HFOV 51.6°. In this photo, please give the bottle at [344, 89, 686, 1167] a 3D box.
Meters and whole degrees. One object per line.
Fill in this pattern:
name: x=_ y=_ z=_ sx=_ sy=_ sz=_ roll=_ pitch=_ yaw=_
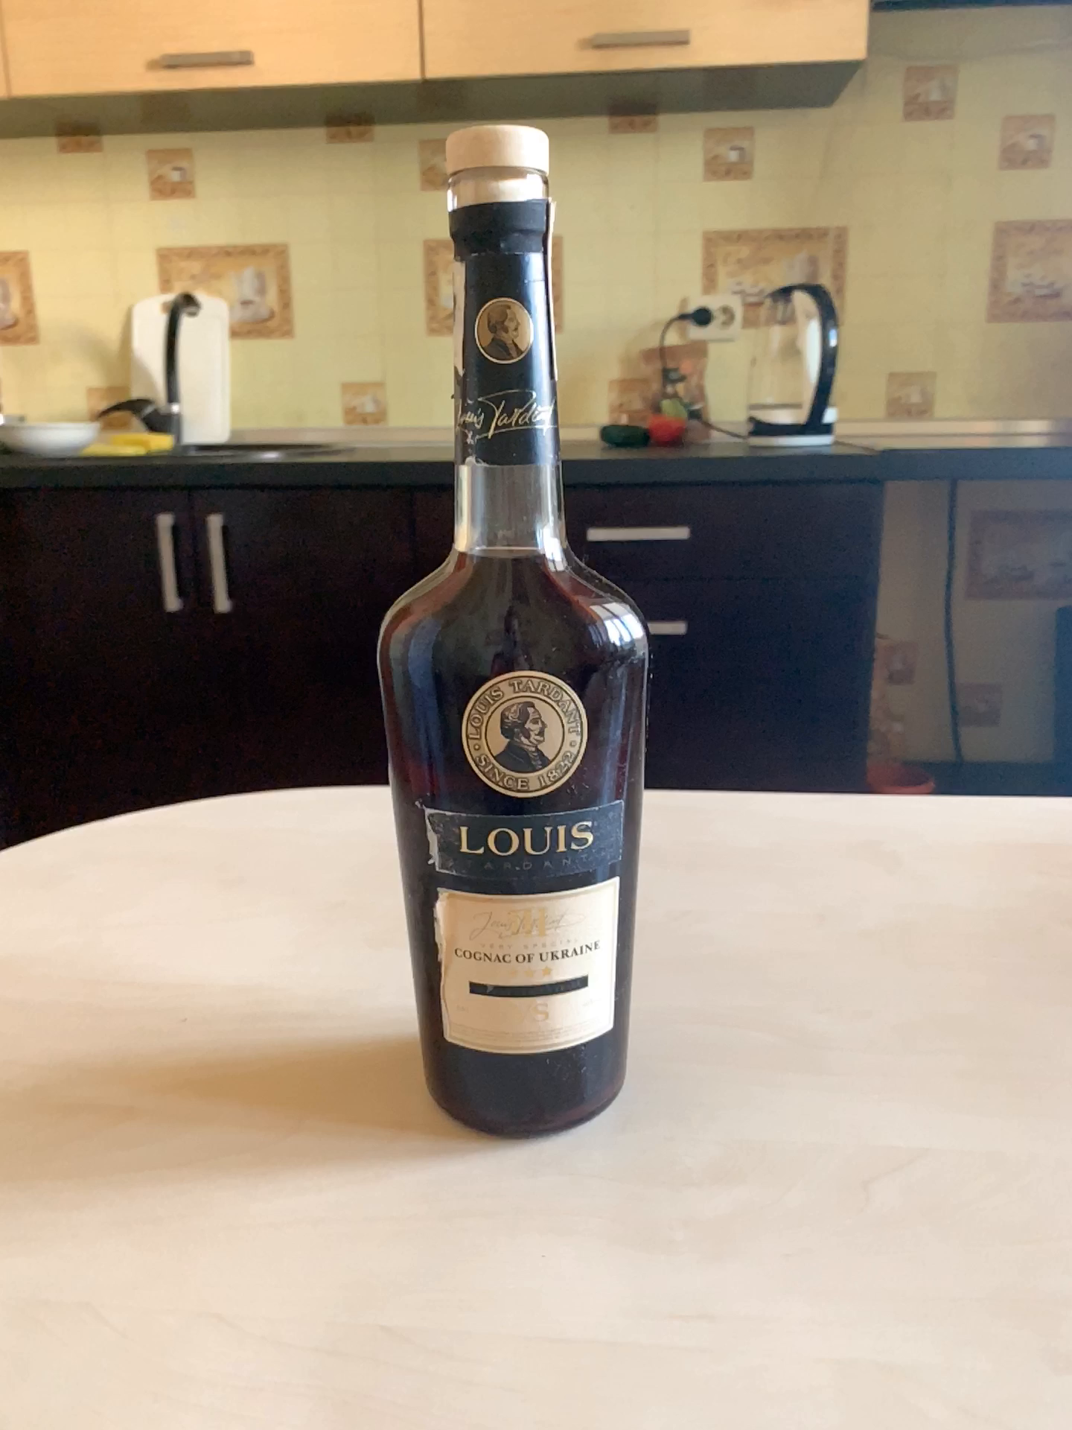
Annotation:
bottle: x=-0.008 y=-0.018 z=0.337 sx=0.080 sy=0.289 sz=0.080 roll=-1 pitch=16 yaw=0
